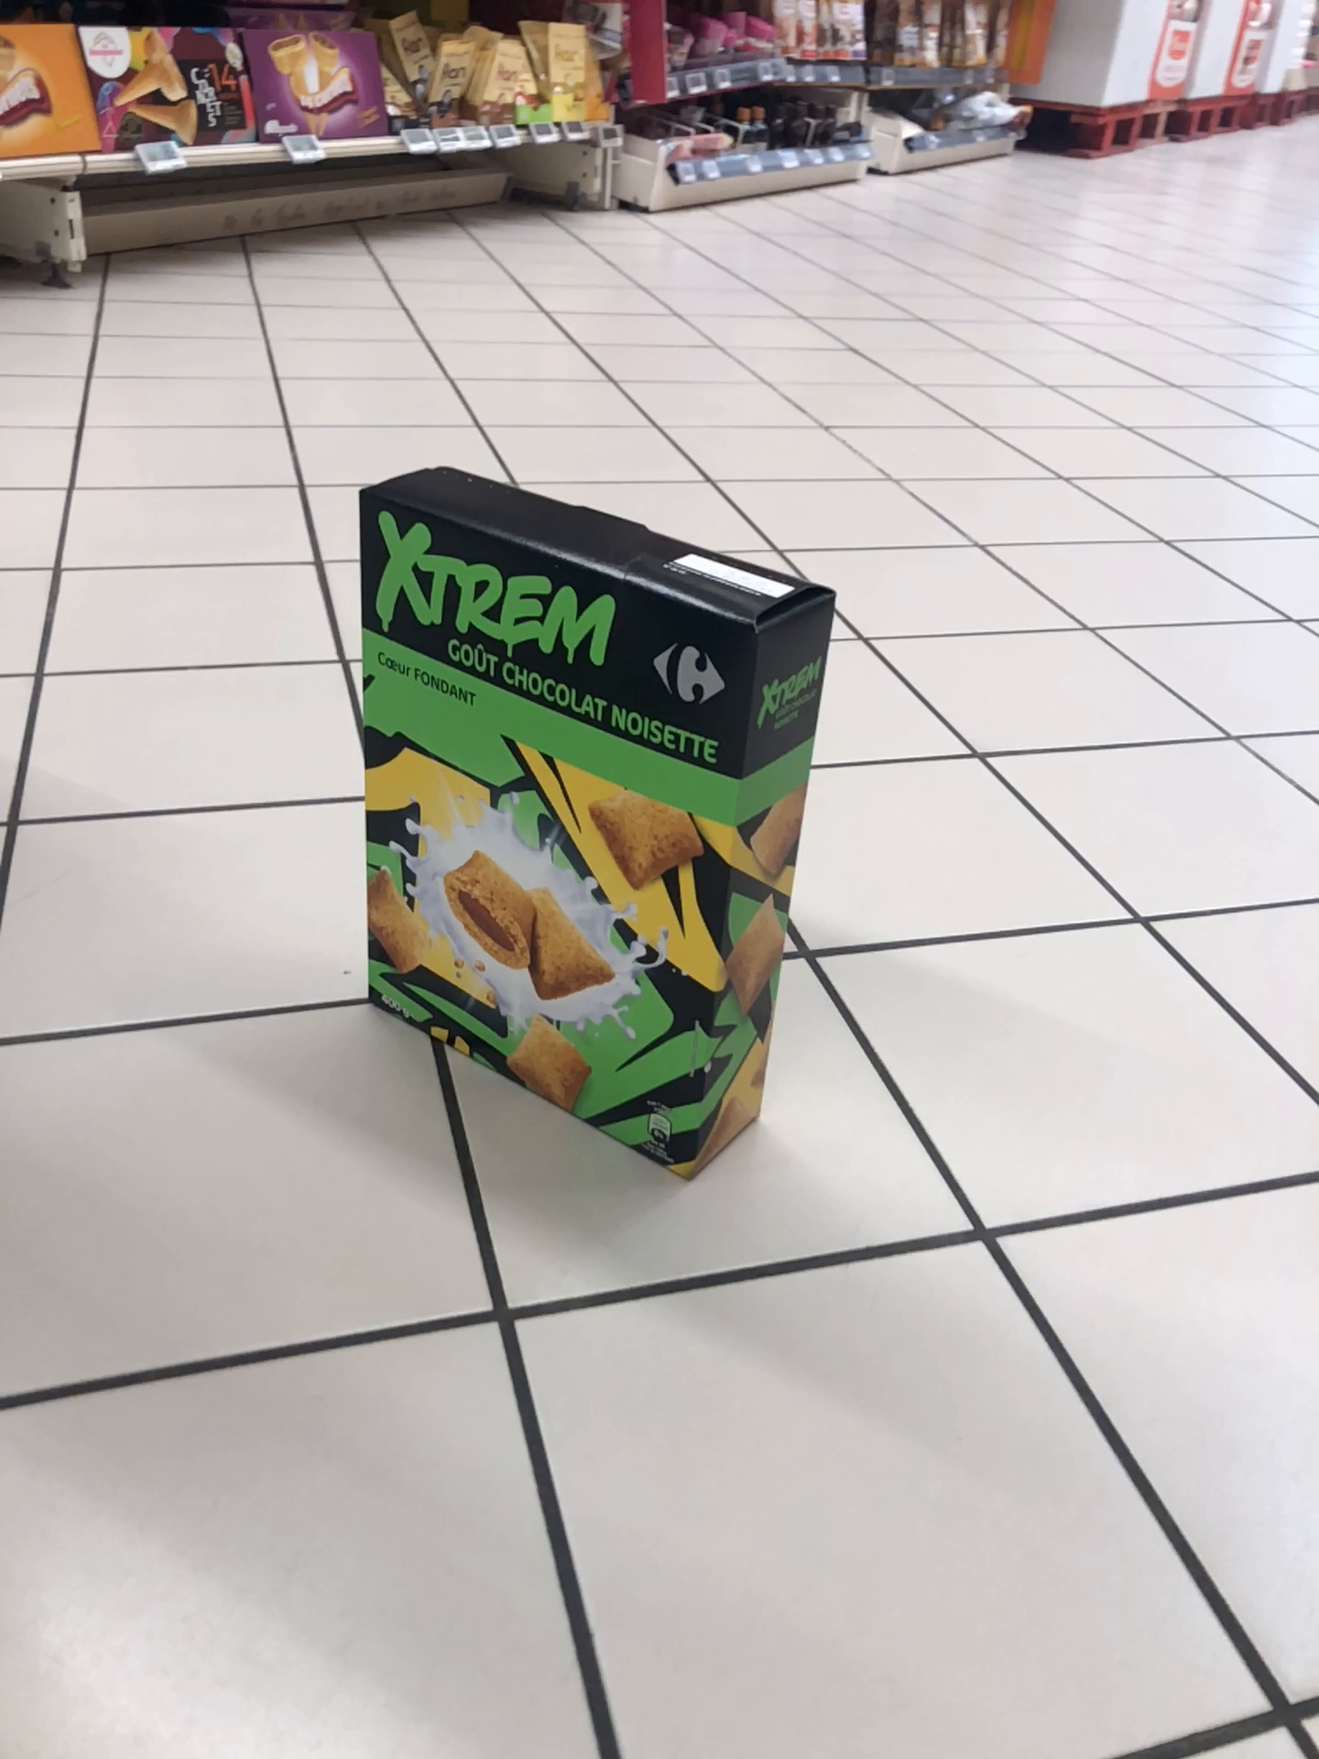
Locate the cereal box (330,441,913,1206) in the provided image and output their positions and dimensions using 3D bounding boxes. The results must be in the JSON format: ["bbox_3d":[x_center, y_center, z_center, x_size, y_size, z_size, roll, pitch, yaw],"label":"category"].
[{"bbox_3d":[-0.026,-0.028,0.586,0.200,0.239,0.091,25,36,29],"label":"cereal box"}]
